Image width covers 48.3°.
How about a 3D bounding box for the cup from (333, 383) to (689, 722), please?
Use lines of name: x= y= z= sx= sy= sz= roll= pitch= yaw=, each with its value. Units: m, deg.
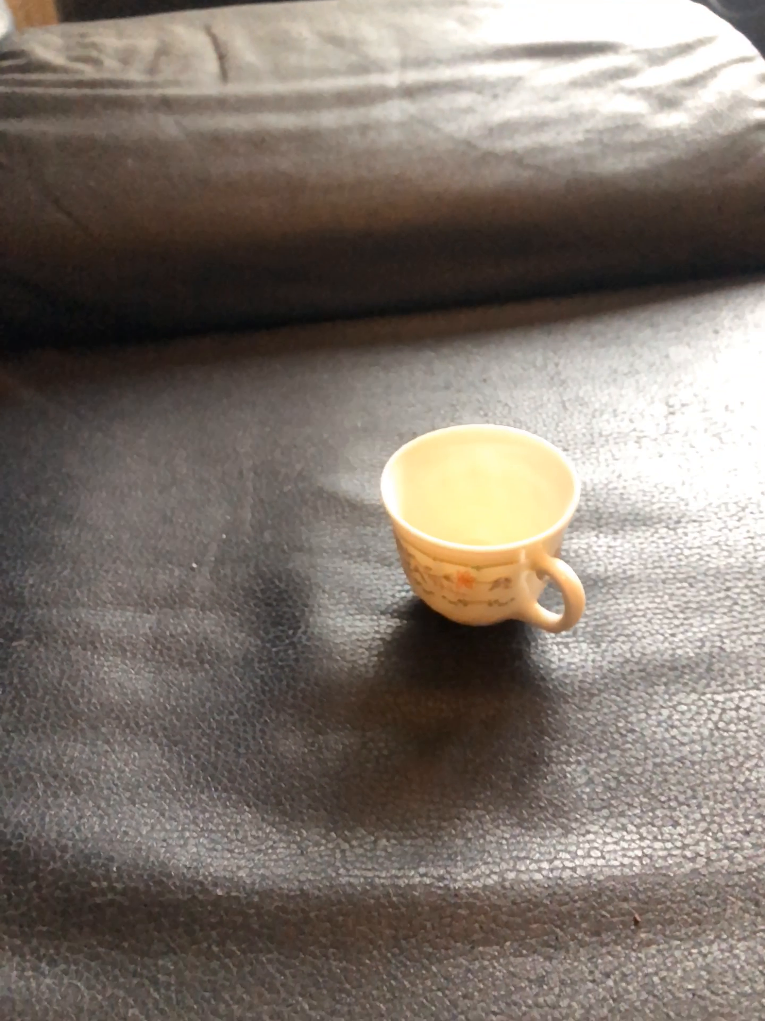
cup: x=0.038 y=0.008 z=0.275 sx=0.069 sy=0.050 sz=0.084 roll=-27 pitch=45 yaw=-28
